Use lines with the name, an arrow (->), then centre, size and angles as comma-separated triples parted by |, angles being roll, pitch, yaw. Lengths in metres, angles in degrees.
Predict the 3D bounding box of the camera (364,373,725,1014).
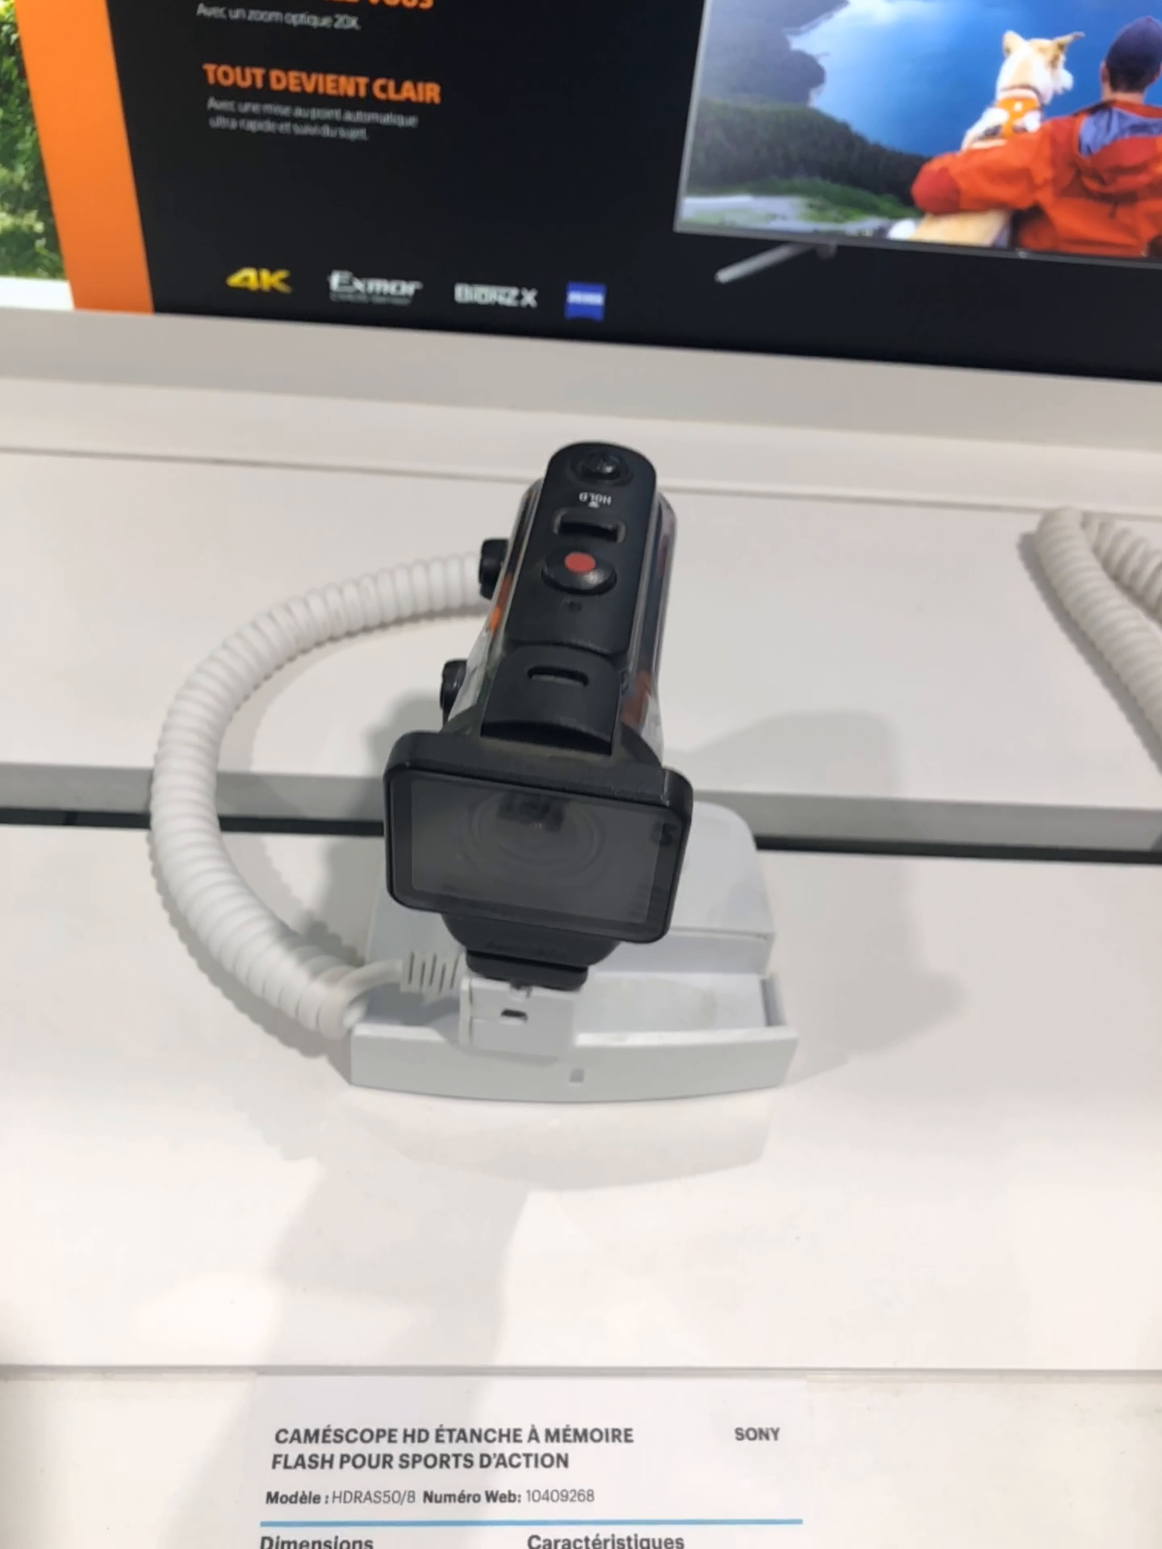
camera -> -0.004, -0.014, 0.230 | 0.045, 0.064, 0.088 | 8, 55, 1
